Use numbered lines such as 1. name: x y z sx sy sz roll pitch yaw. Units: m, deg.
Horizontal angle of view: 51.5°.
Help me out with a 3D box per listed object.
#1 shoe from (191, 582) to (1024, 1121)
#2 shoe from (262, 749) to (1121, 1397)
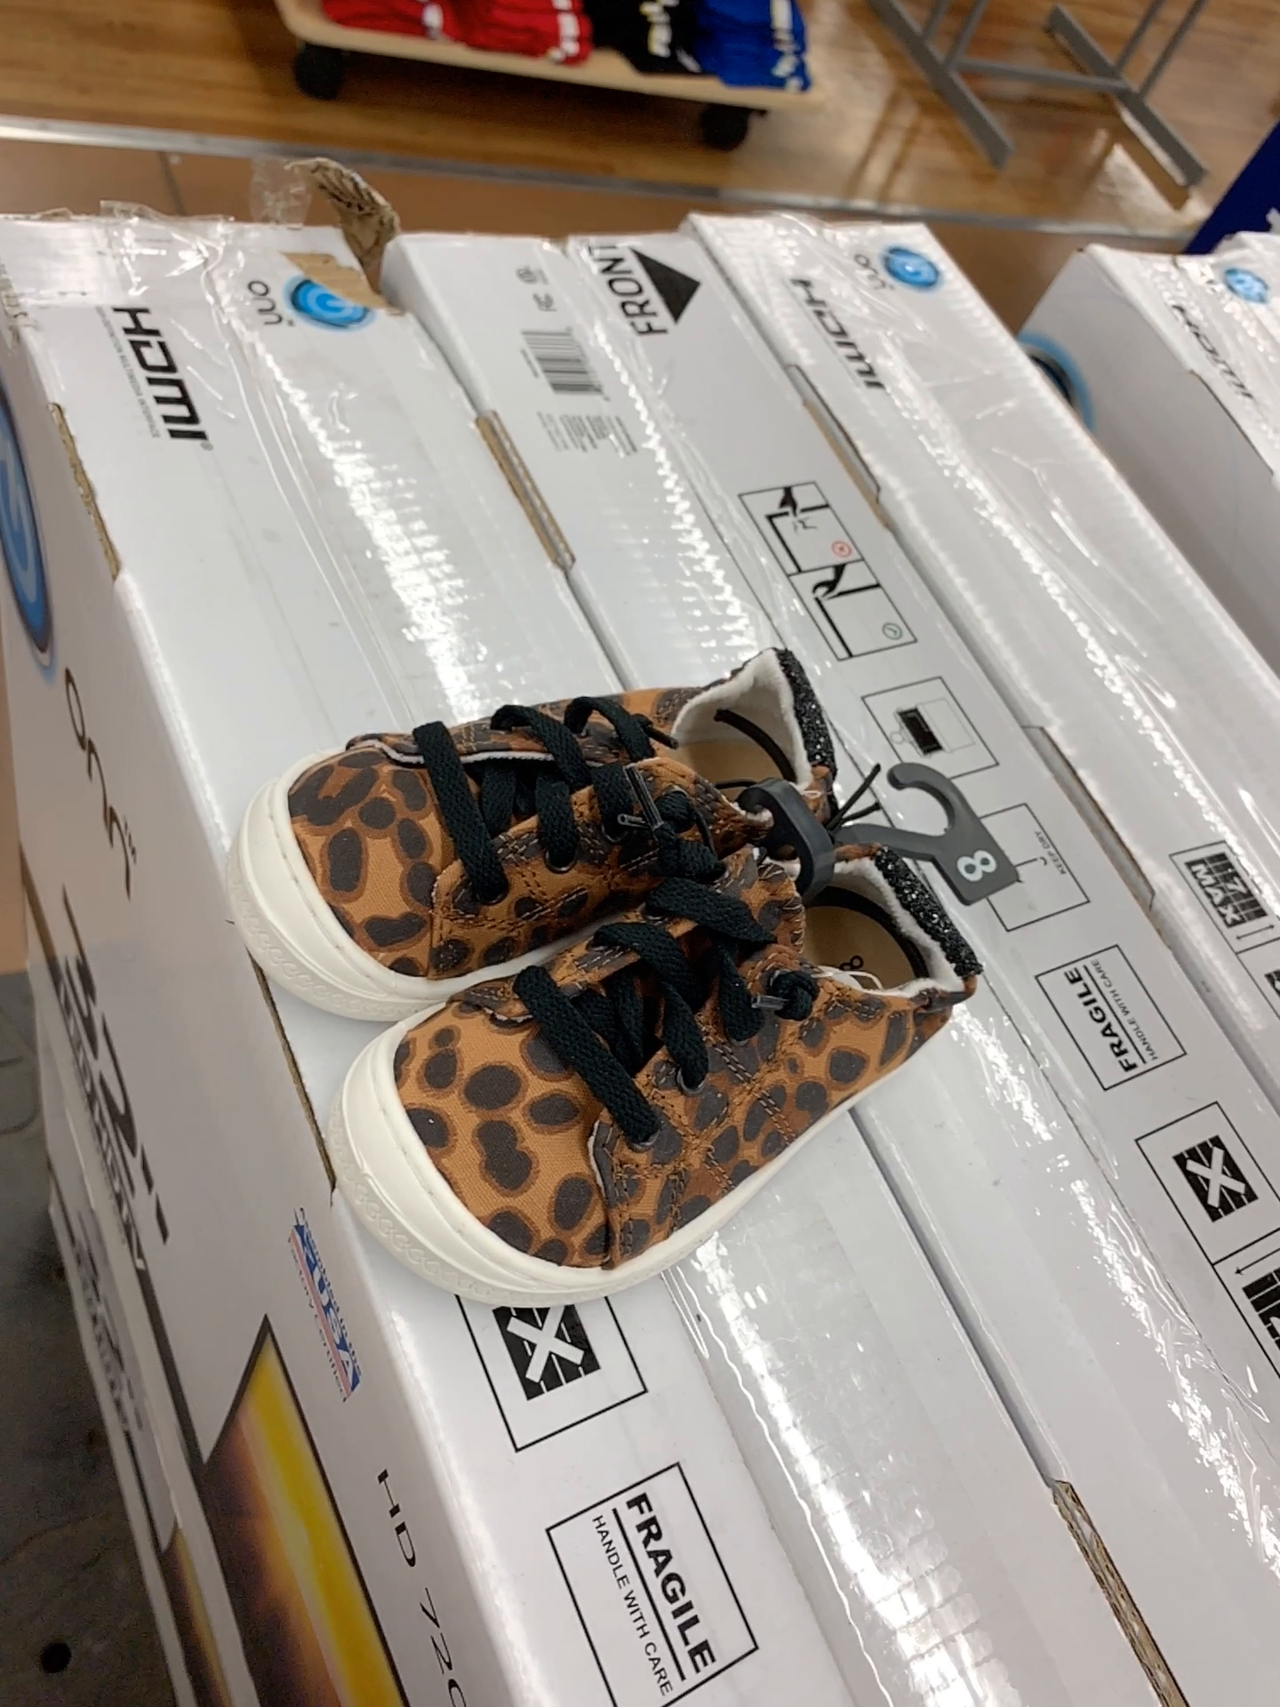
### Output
1. shoe: -0.004 -0.009 0.305 0.170 0.040 0.080 -15 64 -30
2. shoe: 0.016 0.038 0.292 0.170 0.040 0.080 -17 65 -31
